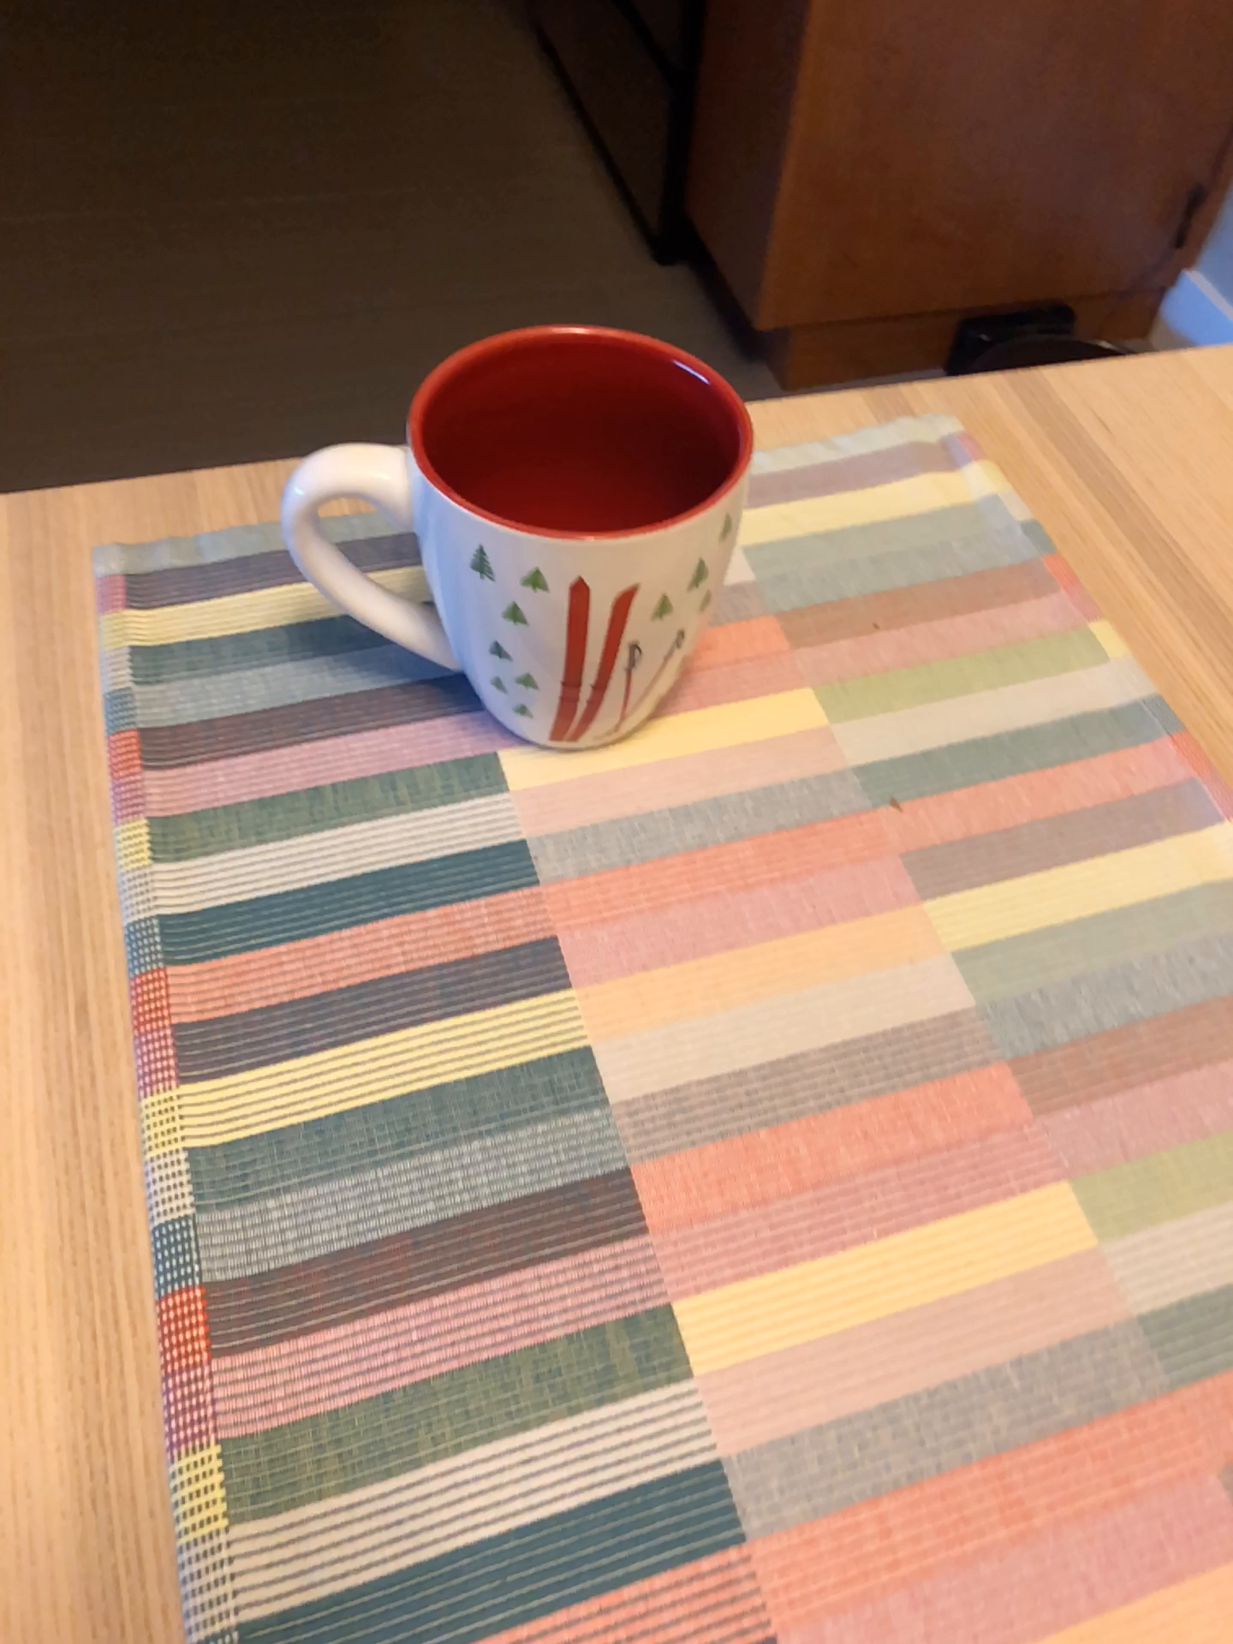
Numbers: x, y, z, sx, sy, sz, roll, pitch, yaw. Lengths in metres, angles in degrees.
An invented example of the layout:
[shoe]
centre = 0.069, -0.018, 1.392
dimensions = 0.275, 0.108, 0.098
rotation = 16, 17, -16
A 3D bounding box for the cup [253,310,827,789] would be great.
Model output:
[cup]
centre = -0.023, -0.078, 0.400
dimensions = 0.140, 0.090, 0.100
rotation = 1, 52, -5
